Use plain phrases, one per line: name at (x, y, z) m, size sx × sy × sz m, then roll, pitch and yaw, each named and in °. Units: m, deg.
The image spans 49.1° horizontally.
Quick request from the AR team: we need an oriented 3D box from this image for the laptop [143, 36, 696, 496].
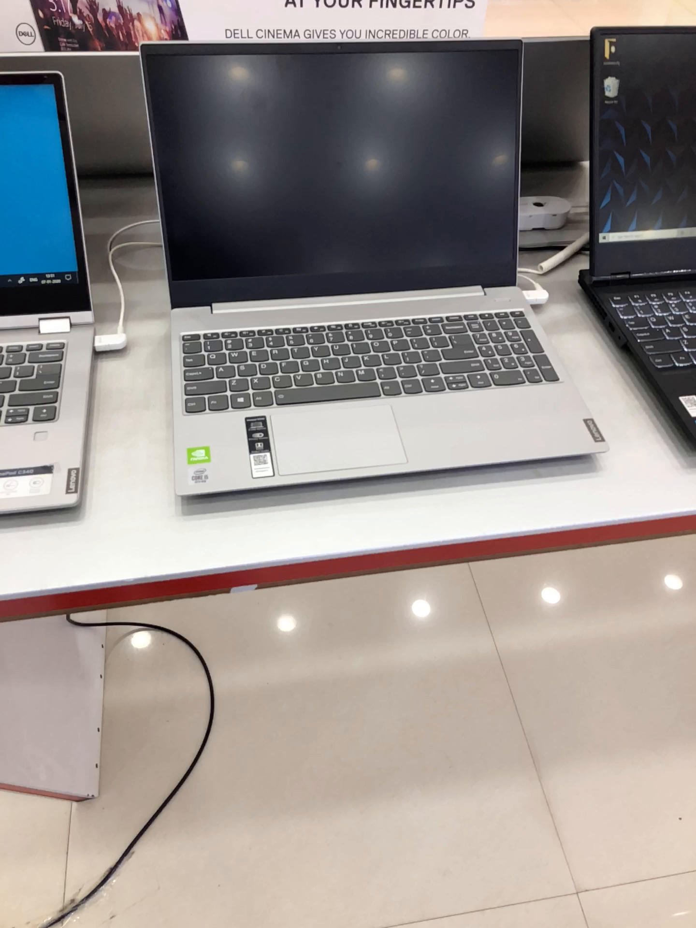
laptop at (0.019, -0.188, 0.638) m, size 0.342 × 0.196 × 0.346 m, roll -6°, pitch 47°, yaw -9°
